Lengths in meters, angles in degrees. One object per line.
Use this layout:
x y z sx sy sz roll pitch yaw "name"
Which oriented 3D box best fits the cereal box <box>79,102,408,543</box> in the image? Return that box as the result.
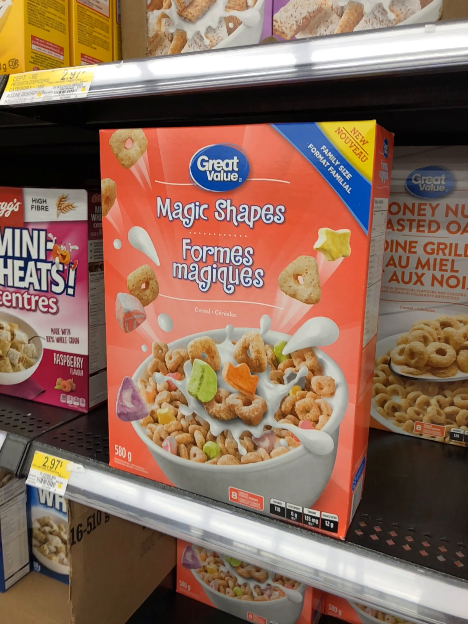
-0.002 0.000 0.450 0.260 0.319 0.070 7 14 26 "cereal box"
